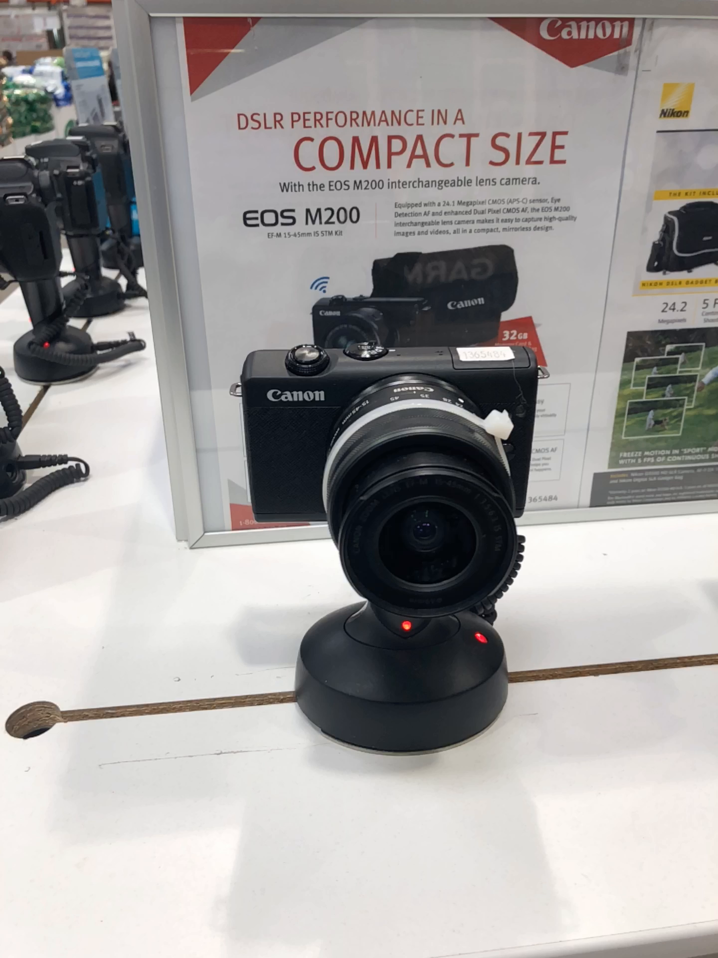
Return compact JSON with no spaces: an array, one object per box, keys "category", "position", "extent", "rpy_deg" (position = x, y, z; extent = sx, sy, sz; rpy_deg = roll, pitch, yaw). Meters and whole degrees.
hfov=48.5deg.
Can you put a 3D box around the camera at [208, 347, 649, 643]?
[{"category":"camera","position":[0.016,-0.003,0.281],"extent":[0.120,0.050,0.120],"rpy_deg":[-2,26,-3]}]
